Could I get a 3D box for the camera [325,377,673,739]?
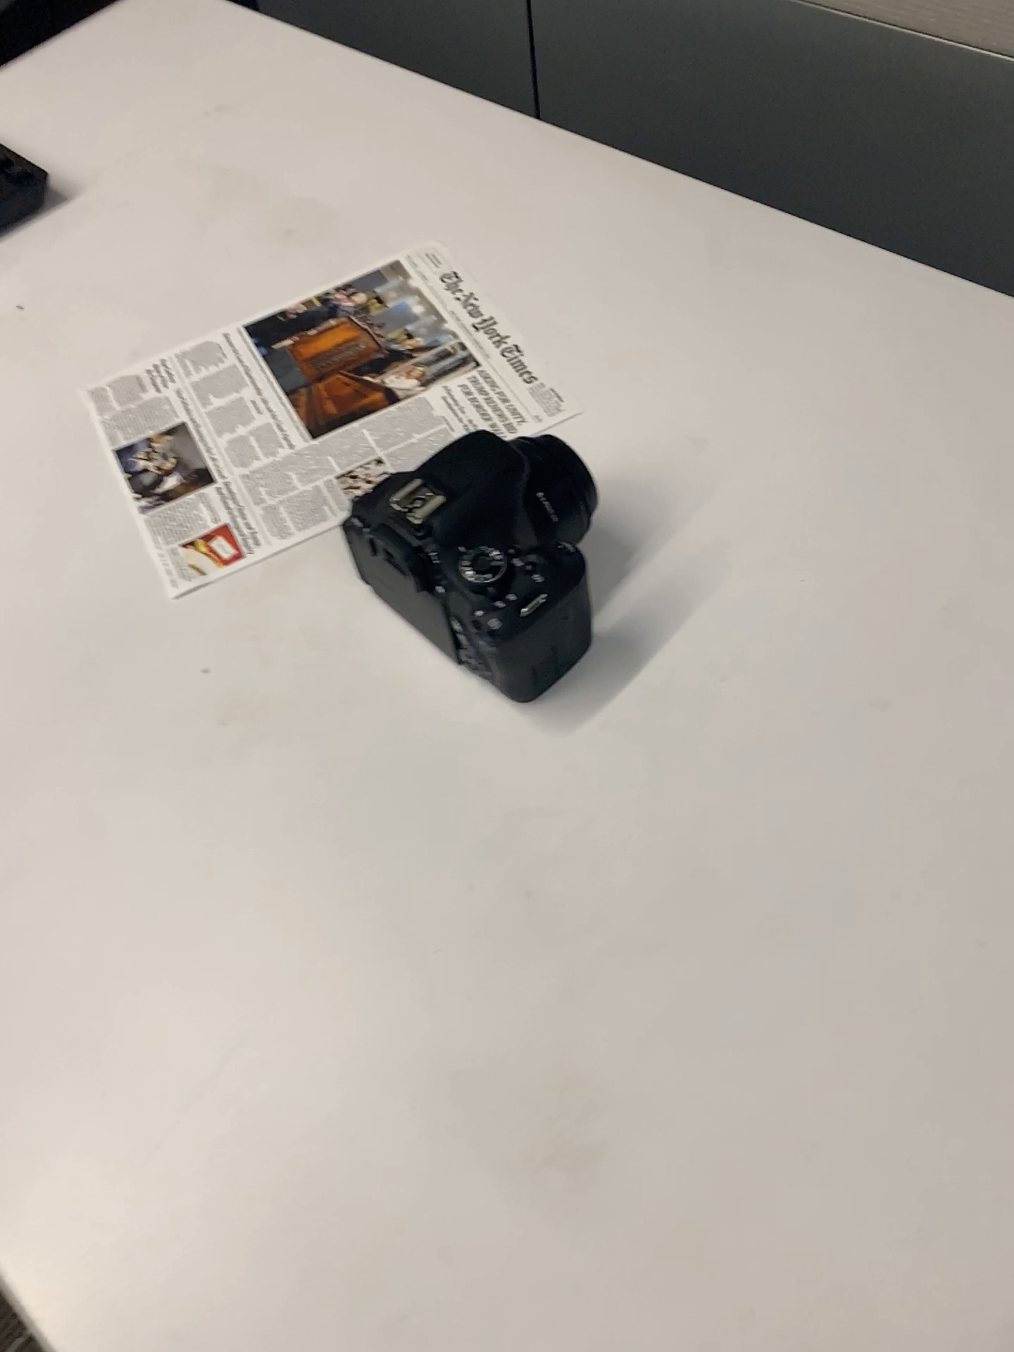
[{"bbox_3d":[-0.001,-0.064,0.551,0.109,0.090,0.138,-40,61,-17],"label":"camera"}]
